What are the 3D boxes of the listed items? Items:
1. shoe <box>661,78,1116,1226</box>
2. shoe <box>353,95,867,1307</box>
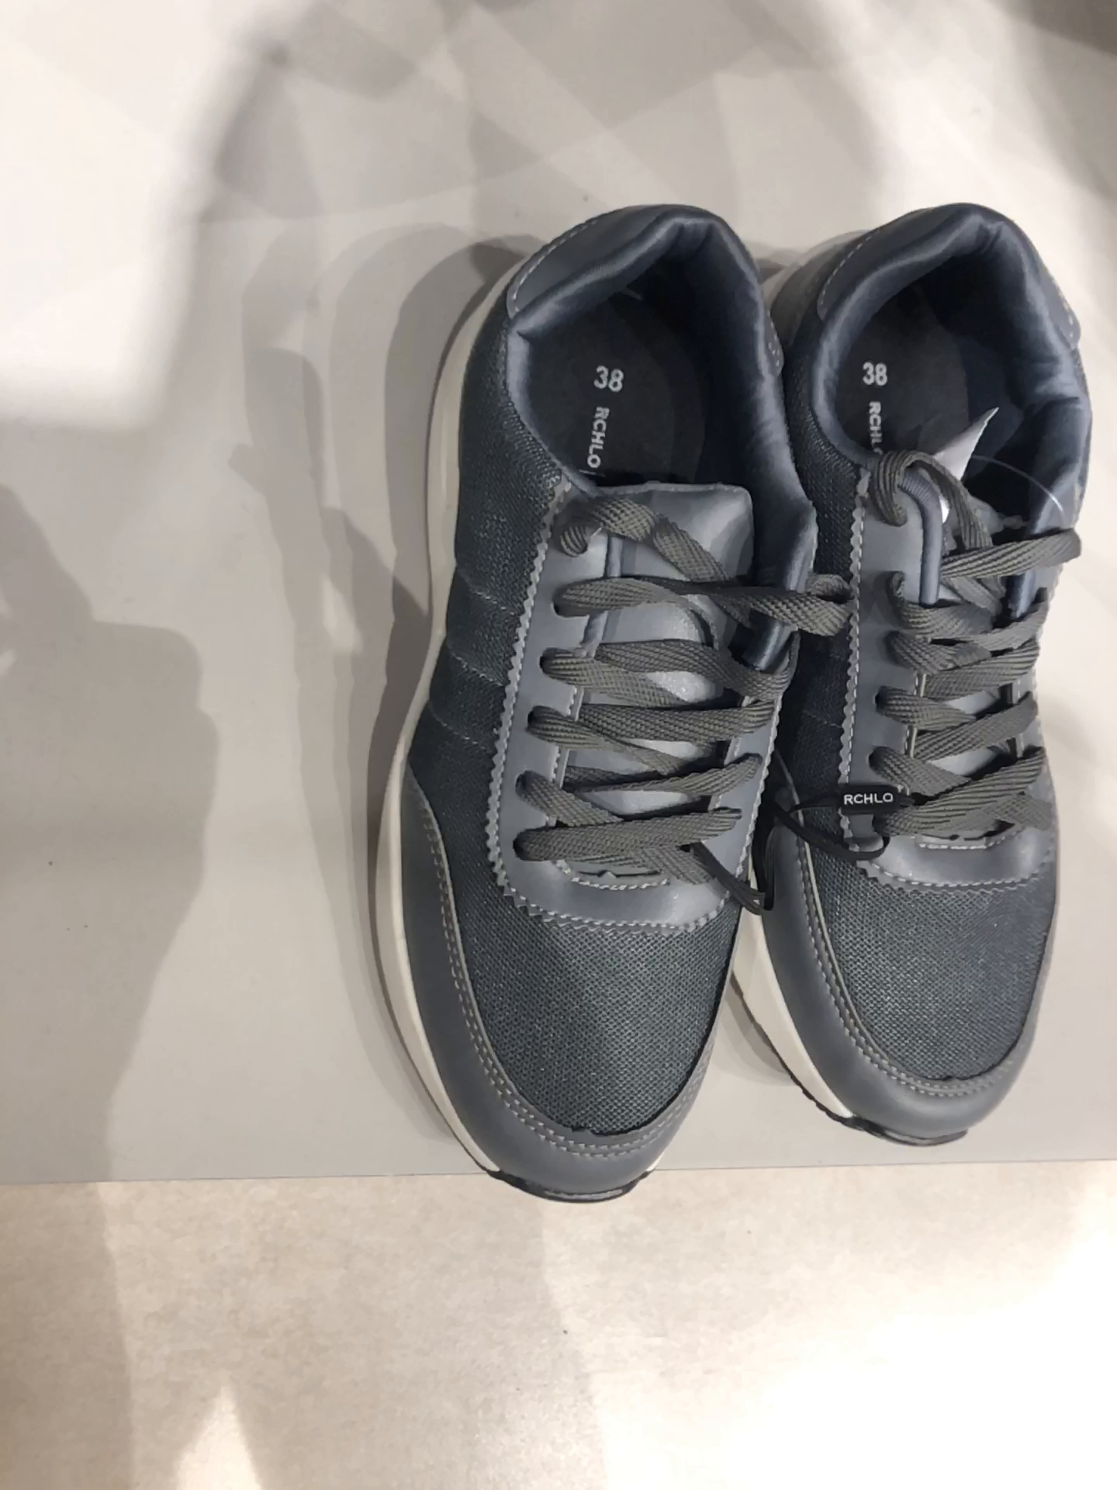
[{"bbox_3d":[0.104,-0.025,0.354,0.110,0.100,0.280,0,80,-12],"label":"shoe"},{"bbox_3d":[0.005,-0.012,0.340,0.110,0.100,0.280,2,80,-11],"label":"shoe"}]
